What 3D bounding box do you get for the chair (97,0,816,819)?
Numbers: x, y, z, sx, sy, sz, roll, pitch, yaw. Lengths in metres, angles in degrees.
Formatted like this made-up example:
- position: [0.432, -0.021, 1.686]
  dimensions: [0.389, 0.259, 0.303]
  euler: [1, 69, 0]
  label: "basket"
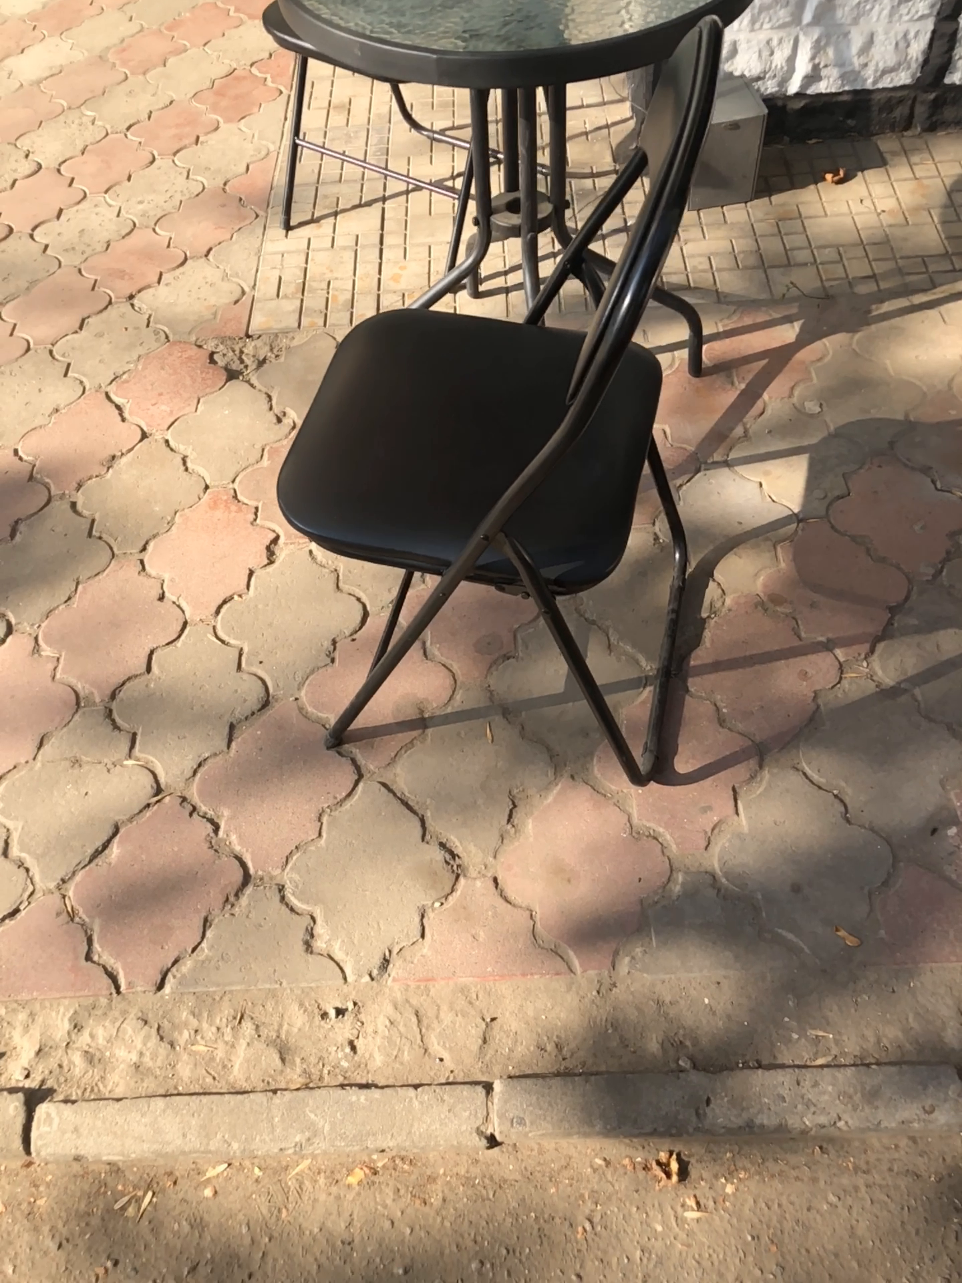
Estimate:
- position: [0.036, -0.235, 1.139]
  dimensions: [0.500, 0.638, 0.532]
  euler: [8, 53, 10]
  label: "chair"
